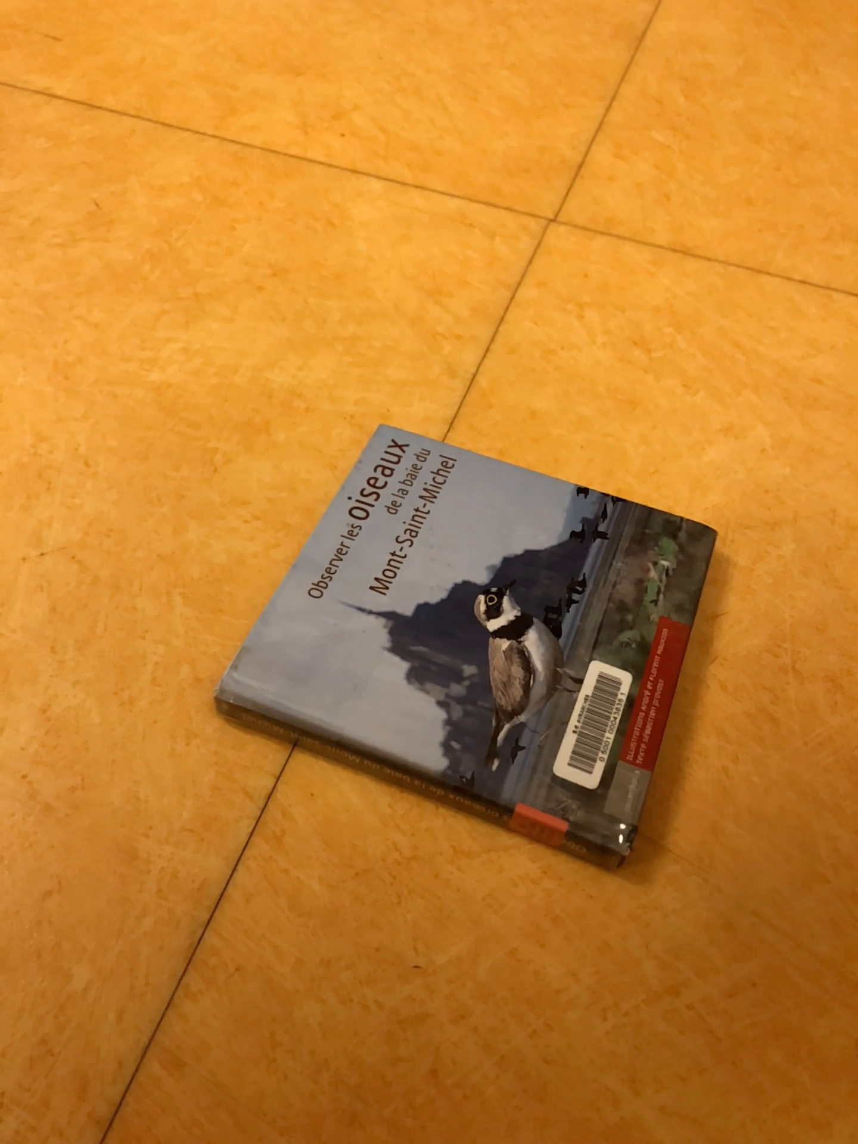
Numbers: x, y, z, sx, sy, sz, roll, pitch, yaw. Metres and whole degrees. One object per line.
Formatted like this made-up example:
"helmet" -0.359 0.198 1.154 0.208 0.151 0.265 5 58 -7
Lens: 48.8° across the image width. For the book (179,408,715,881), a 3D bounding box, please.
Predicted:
"book" 0.015 0.015 0.361 0.156 0.015 0.154 19 54 11
